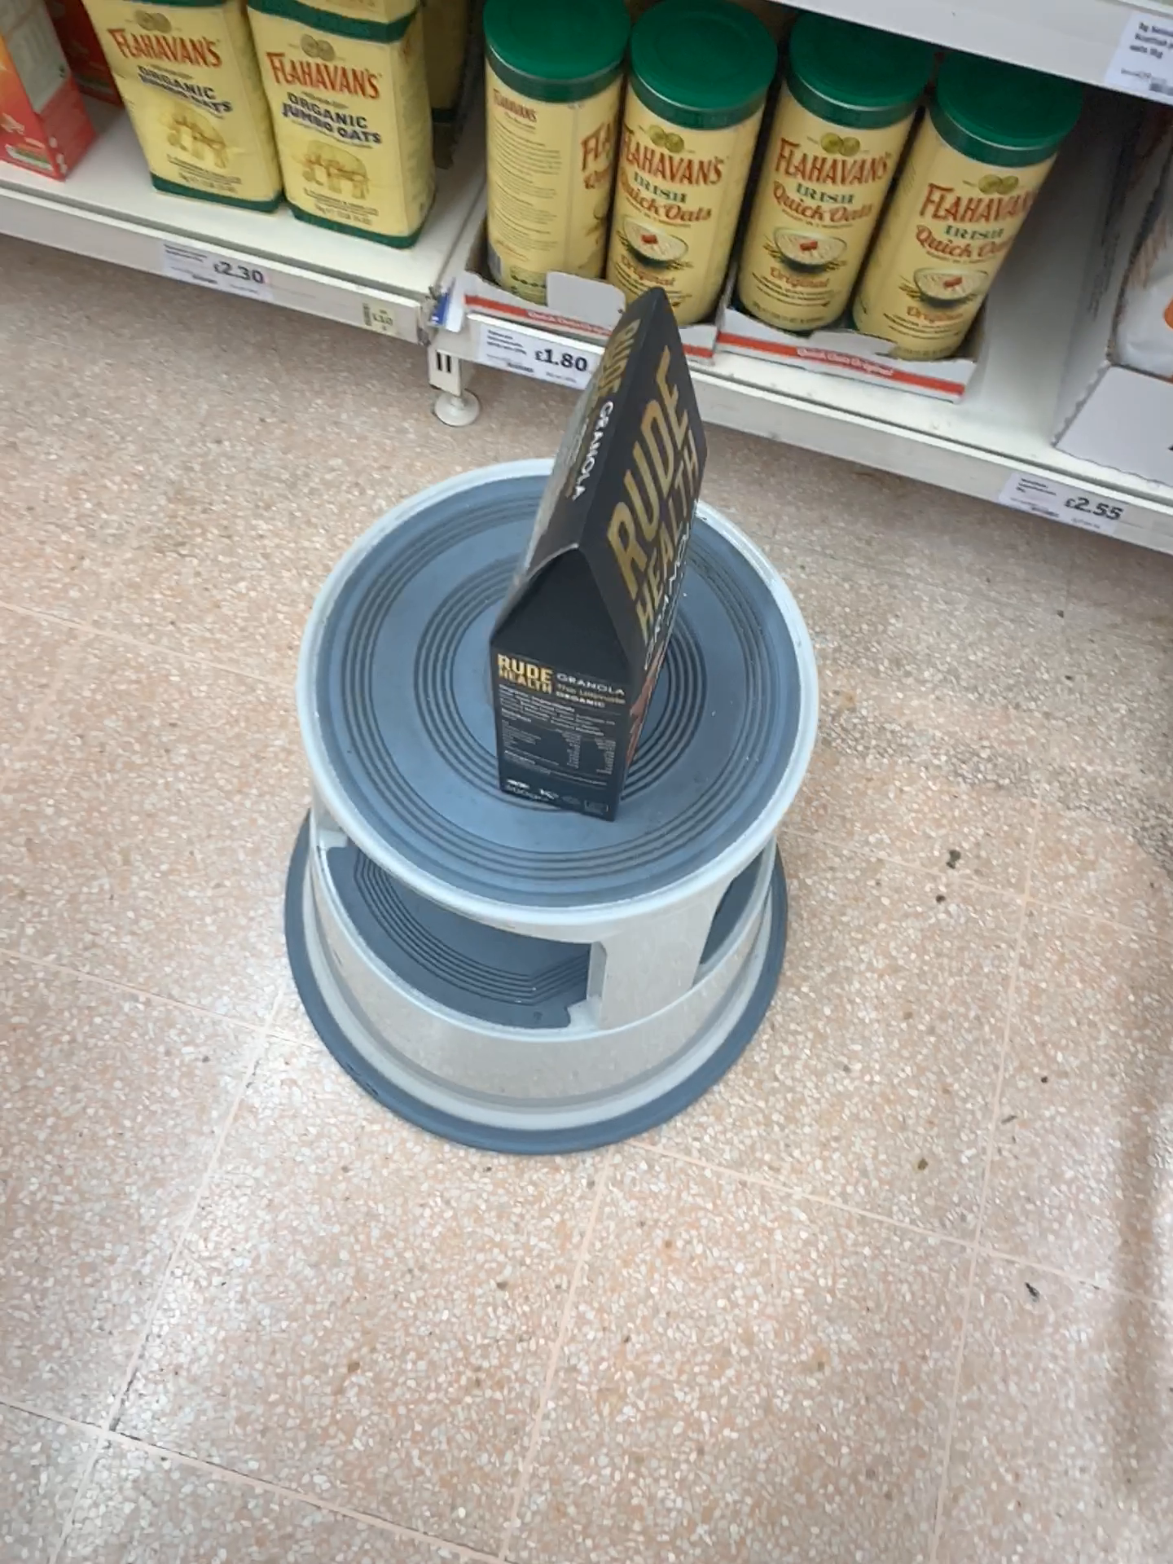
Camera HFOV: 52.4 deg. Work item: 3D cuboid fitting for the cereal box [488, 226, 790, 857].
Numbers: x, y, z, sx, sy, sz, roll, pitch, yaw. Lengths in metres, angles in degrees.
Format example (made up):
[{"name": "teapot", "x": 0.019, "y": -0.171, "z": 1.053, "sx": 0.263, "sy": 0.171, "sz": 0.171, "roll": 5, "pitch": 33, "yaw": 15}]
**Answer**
[{"name": "cereal box", "x": 0.011, "y": -0.082, "z": 0.527, "sx": 0.070, "sy": 0.259, "sz": 0.141, "roll": 16, "pitch": 67, "yaw": 2}]
